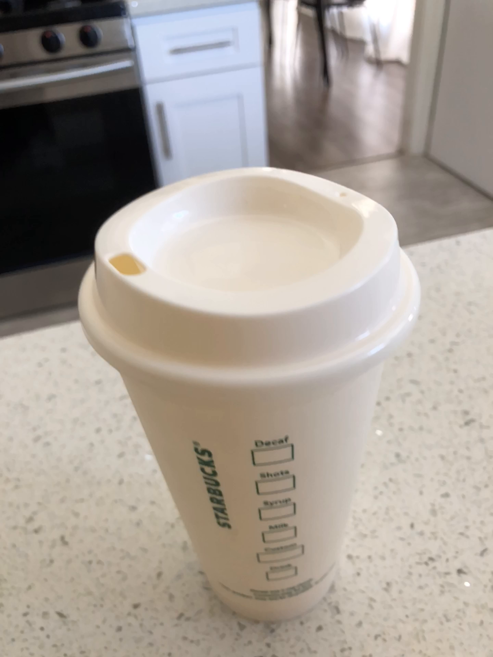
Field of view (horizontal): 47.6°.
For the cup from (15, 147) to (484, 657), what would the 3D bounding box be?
[{"bbox_3d":[0.000,0.030,0.184,0.090,0.139,0.090,-3,37,2],"label":"cup"}]
